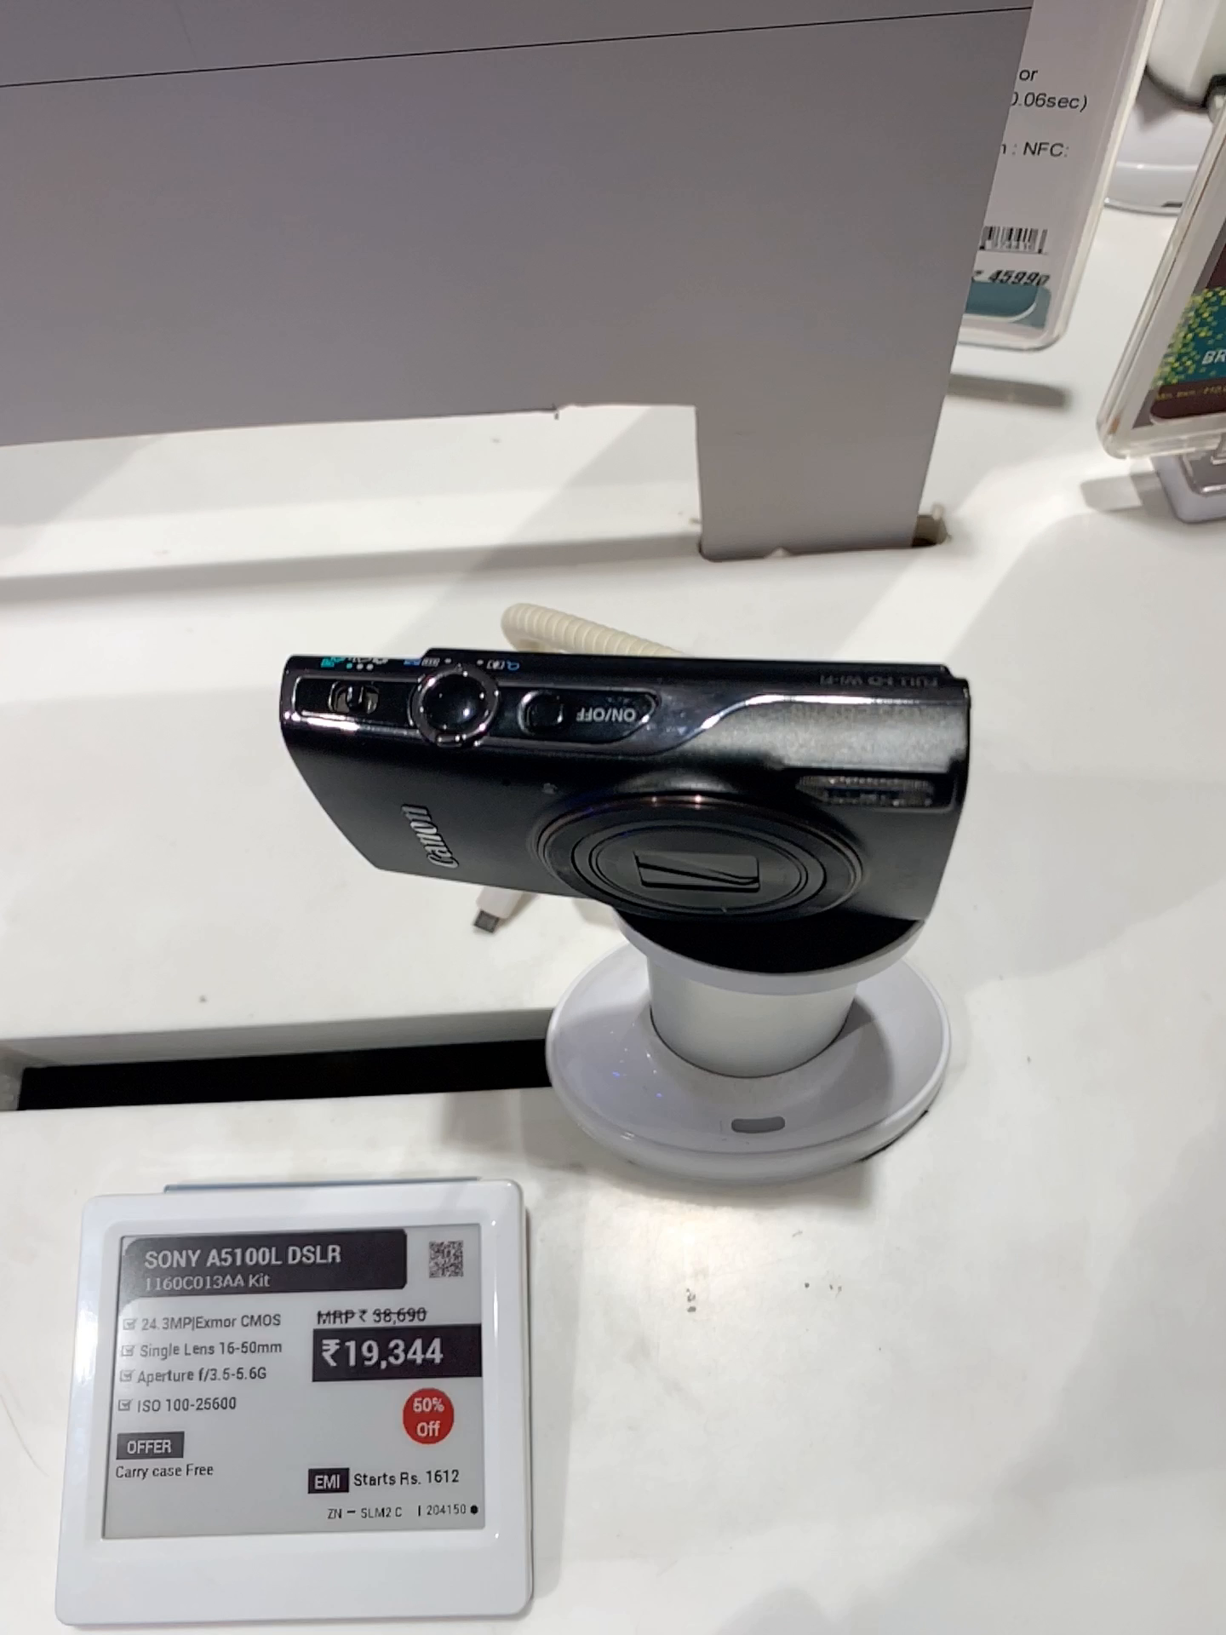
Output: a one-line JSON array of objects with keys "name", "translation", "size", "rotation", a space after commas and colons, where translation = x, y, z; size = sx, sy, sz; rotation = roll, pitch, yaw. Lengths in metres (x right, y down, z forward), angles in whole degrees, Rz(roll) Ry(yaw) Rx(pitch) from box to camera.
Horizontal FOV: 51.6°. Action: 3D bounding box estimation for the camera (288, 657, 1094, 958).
[{"name": "camera", "translation": [0.010, 0.000, 0.184], "size": [0.100, 0.050, 0.020], "rotation": [2, 65, 5]}]
